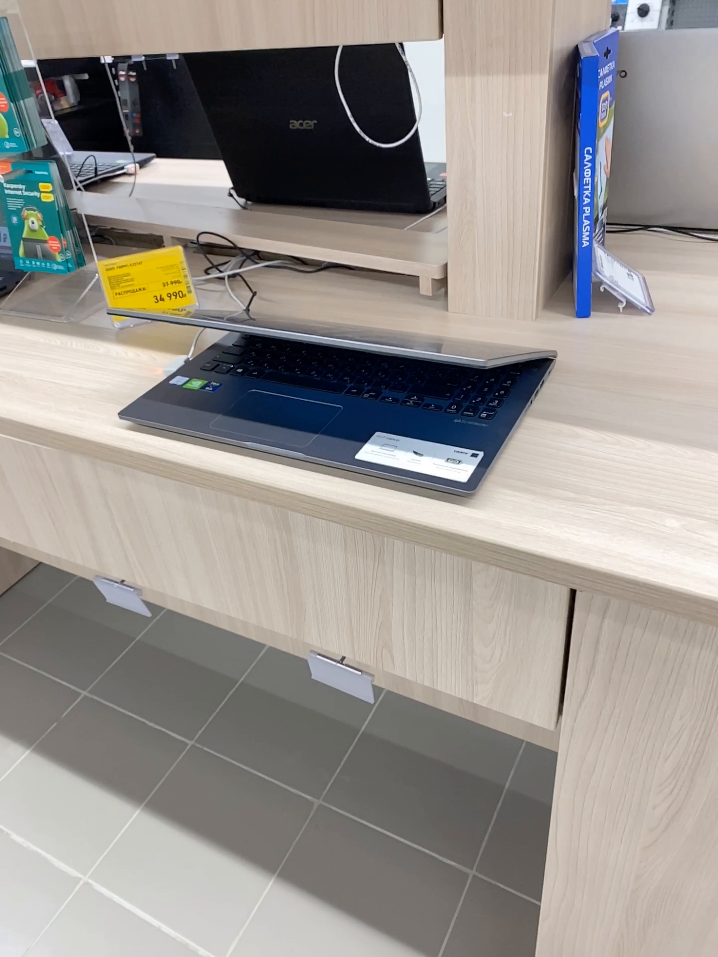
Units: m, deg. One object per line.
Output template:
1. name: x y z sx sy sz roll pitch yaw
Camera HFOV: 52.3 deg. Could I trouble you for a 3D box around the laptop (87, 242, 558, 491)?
1. laptop: -0.025 -0.127 0.678 0.353 0.088 0.237 12 38 24
